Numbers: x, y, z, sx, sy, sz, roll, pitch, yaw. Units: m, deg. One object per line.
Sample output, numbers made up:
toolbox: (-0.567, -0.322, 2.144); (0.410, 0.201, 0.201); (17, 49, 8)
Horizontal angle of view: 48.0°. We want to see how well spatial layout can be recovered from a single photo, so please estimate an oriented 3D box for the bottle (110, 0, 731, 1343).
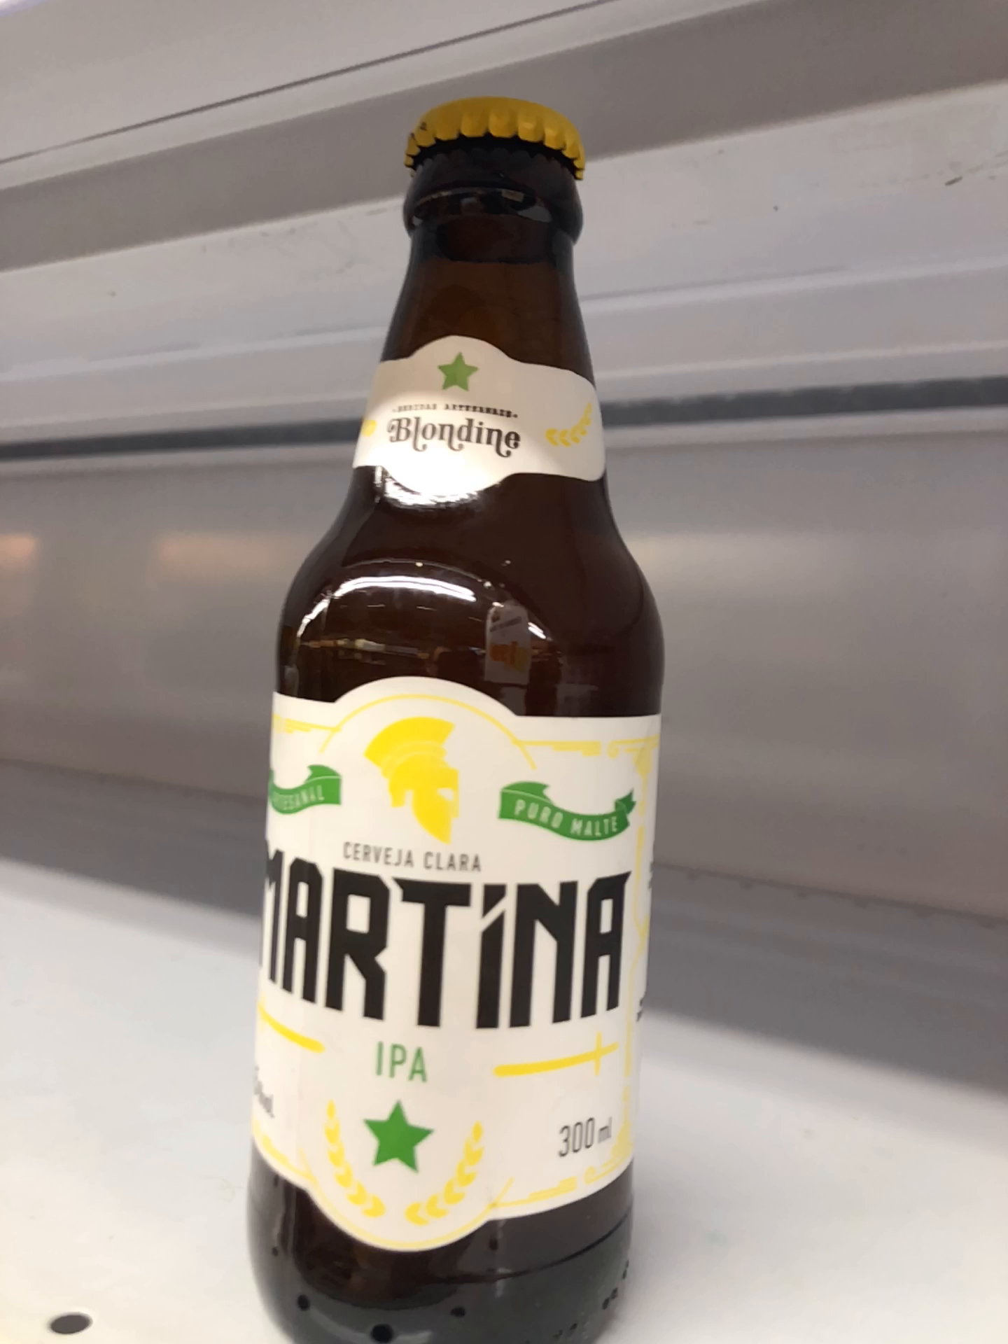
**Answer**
bottle: (-0.008, -0.002, 0.169); (0.070, 0.190, 0.060); (3, 2, 7)
